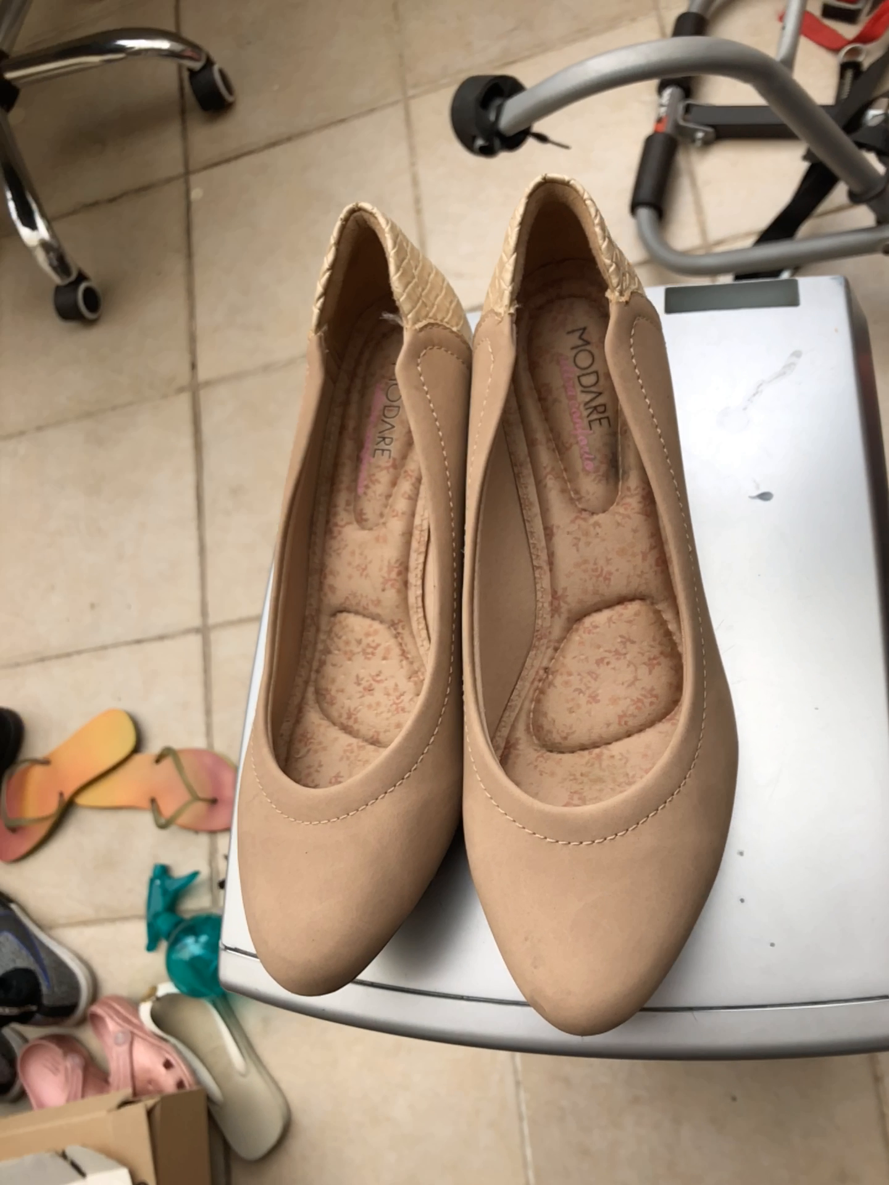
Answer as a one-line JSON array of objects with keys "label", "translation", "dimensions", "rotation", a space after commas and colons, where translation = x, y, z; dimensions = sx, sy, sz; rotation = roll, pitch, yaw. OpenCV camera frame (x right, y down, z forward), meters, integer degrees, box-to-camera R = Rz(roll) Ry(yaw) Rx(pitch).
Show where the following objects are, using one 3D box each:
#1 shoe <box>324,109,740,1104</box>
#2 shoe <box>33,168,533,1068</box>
[{"label": "shoe", "translation": [0.036, 0.005, 0.306], "dimensions": [0.090, 0.120, 0.244], "rotation": [-3, 76, 19]}, {"label": "shoe", "translation": [-0.038, 0.008, 0.333], "dimensions": [0.090, 0.120, 0.244], "rotation": [1, 78, 20]}]
